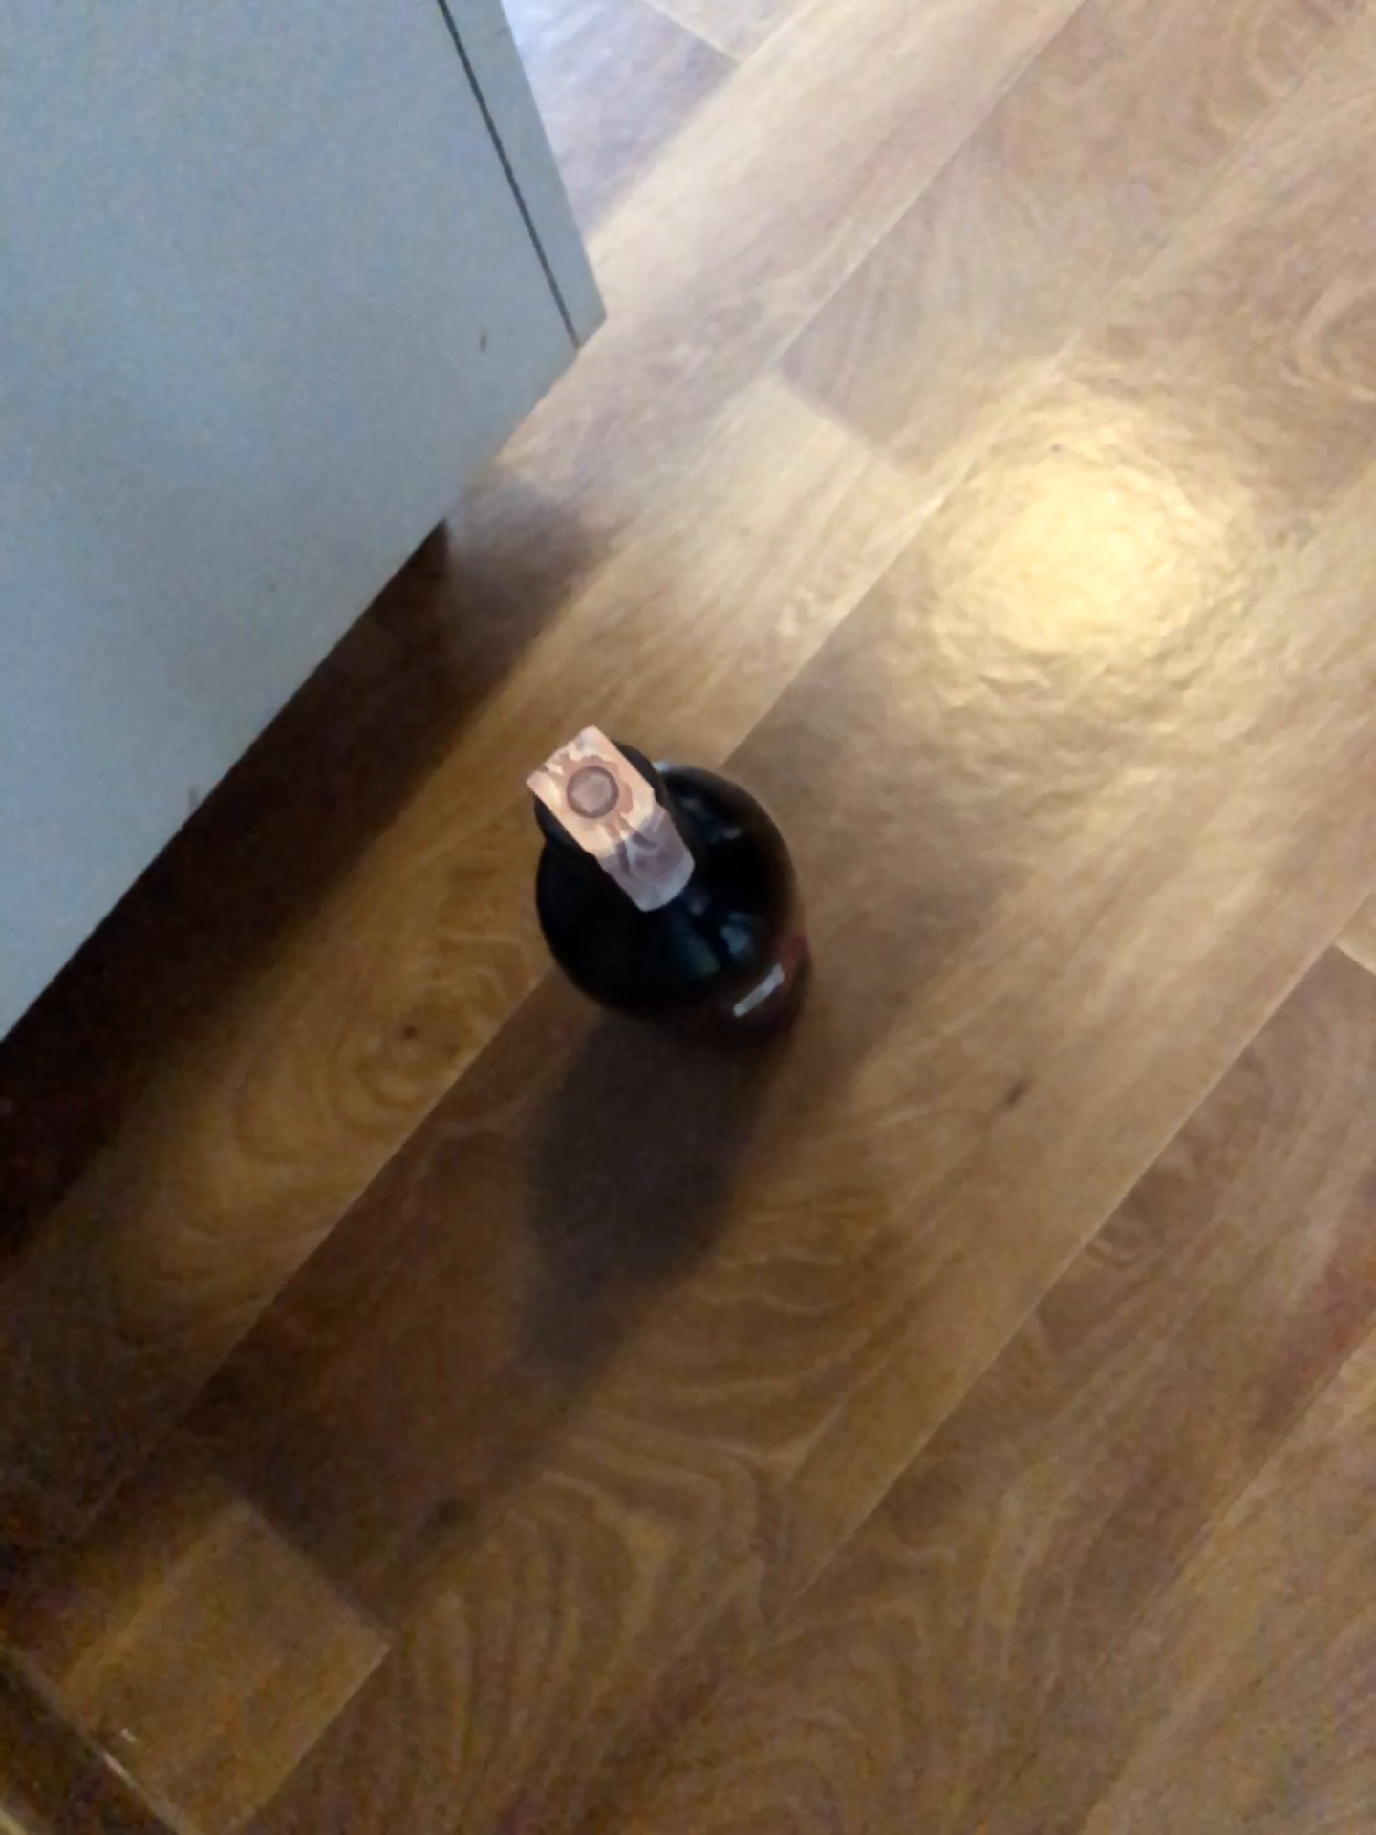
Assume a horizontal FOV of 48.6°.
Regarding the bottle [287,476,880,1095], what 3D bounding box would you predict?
[{"bbox_3d":[-0.006,-0.014,0.479,0.090,0.298,0.090,-1,81,8],"label":"bottle"}]
